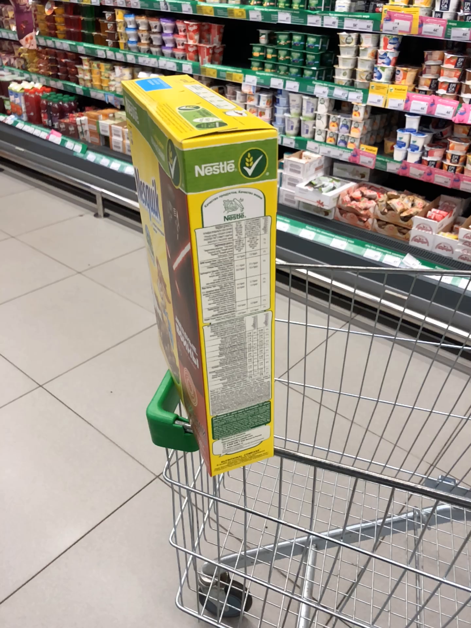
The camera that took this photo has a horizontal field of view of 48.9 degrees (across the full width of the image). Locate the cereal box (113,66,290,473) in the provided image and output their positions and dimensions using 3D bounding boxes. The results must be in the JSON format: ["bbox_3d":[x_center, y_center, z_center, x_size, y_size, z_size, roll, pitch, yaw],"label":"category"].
[{"bbox_3d":[-0.032,-0.043,0.432,0.070,0.268,0.201,-12,35,-15],"label":"cereal box"}]
